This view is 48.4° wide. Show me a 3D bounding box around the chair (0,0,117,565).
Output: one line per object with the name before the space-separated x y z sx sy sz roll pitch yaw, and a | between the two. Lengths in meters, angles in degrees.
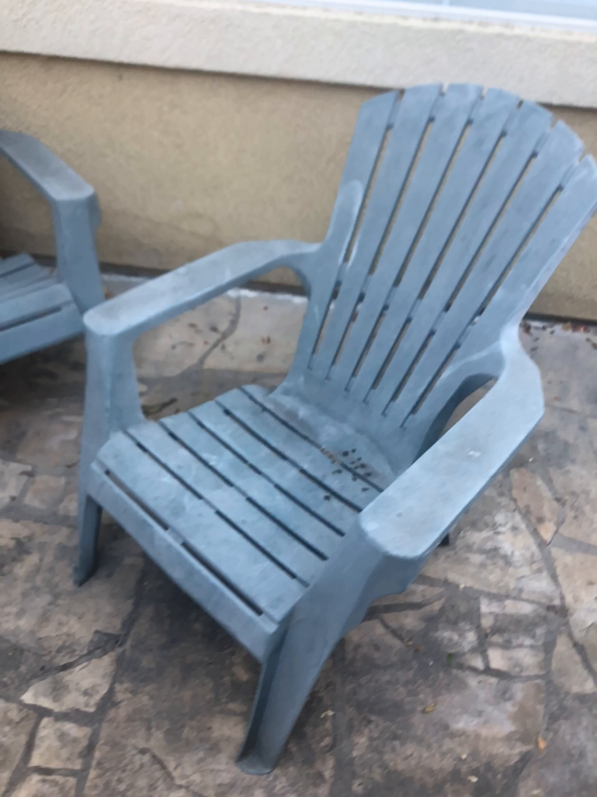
chair | -1.127 -0.438 1.744 0.744 1.220 0.912 -25 42 -30

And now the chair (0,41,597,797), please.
chair | 0.038 -0.041 1.203 0.691 0.882 0.927 33 45 29
